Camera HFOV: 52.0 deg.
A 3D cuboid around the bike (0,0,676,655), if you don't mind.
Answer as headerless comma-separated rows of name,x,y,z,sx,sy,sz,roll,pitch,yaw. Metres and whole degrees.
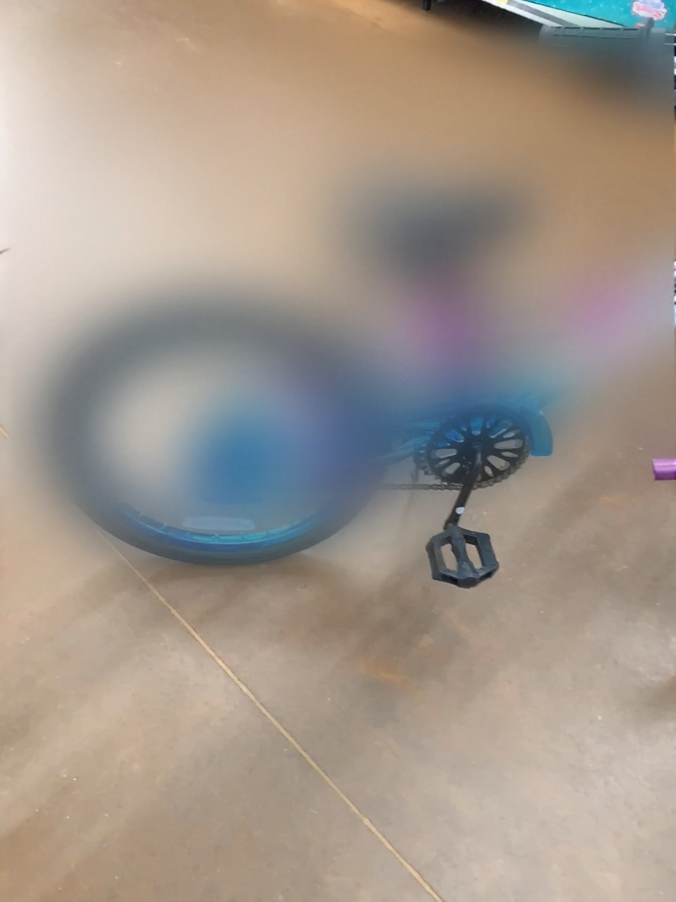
bike,0.070,-0.214,0.882,0.933,0.931,0.580,2,51,-5
